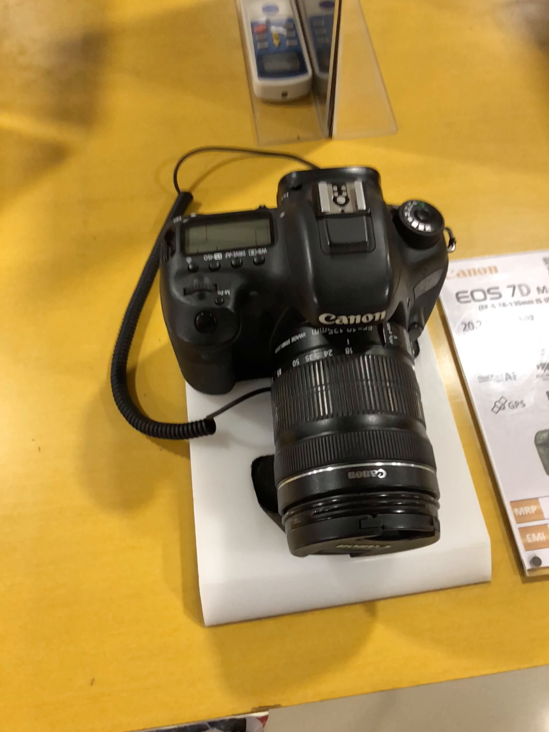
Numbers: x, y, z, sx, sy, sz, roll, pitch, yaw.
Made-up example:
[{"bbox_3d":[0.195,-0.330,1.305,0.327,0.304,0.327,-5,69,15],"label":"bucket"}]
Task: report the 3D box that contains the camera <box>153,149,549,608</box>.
[{"bbox_3d":[0.021,0.008,0.284,0.130,0.110,0.171,-6,63,-4],"label":"camera"}]
